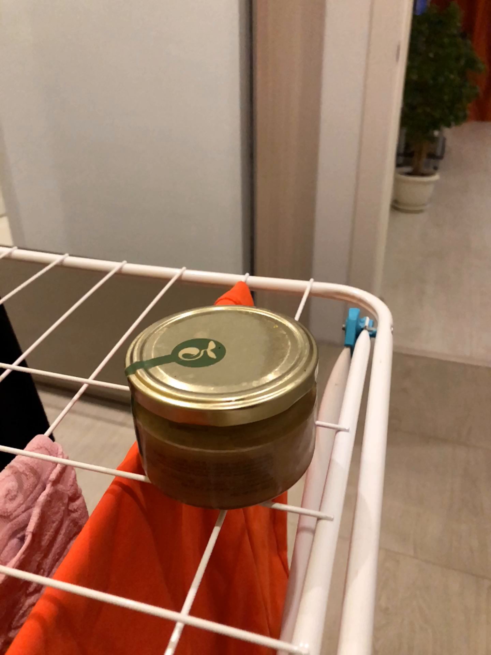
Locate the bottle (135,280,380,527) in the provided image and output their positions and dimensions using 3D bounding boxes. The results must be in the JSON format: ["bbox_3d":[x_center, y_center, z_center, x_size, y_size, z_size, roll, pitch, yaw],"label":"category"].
[{"bbox_3d":[-0.002,0.028,0.250,0.090,0.060,0.091,-1,29,0],"label":"bottle"}]
